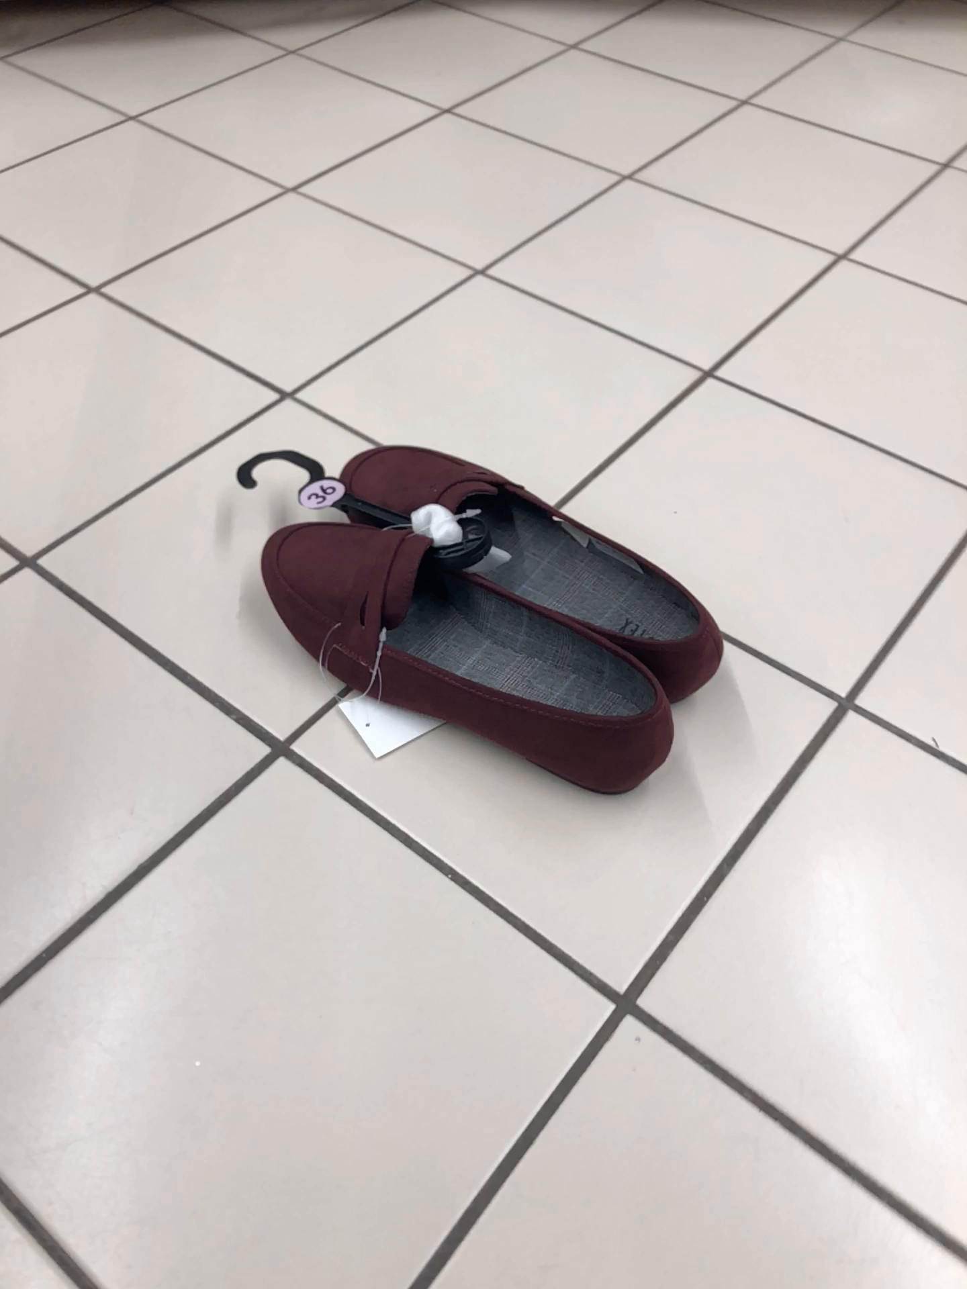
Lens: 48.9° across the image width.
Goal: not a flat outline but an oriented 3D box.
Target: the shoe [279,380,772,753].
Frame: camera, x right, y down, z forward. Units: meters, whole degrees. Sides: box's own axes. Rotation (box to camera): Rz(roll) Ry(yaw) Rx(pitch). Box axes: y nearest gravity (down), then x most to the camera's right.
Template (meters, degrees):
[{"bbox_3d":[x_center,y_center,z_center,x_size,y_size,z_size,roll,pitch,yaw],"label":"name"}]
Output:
[{"bbox_3d":[0.014,-0.048,0.540,0.239,0.057,0.079,30,54,22],"label":"shoe"}]

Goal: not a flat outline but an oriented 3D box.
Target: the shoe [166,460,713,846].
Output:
[{"bbox_3d":[-0.024,-0.003,0.499,0.239,0.056,0.079,24,52,18],"label":"shoe"}]
